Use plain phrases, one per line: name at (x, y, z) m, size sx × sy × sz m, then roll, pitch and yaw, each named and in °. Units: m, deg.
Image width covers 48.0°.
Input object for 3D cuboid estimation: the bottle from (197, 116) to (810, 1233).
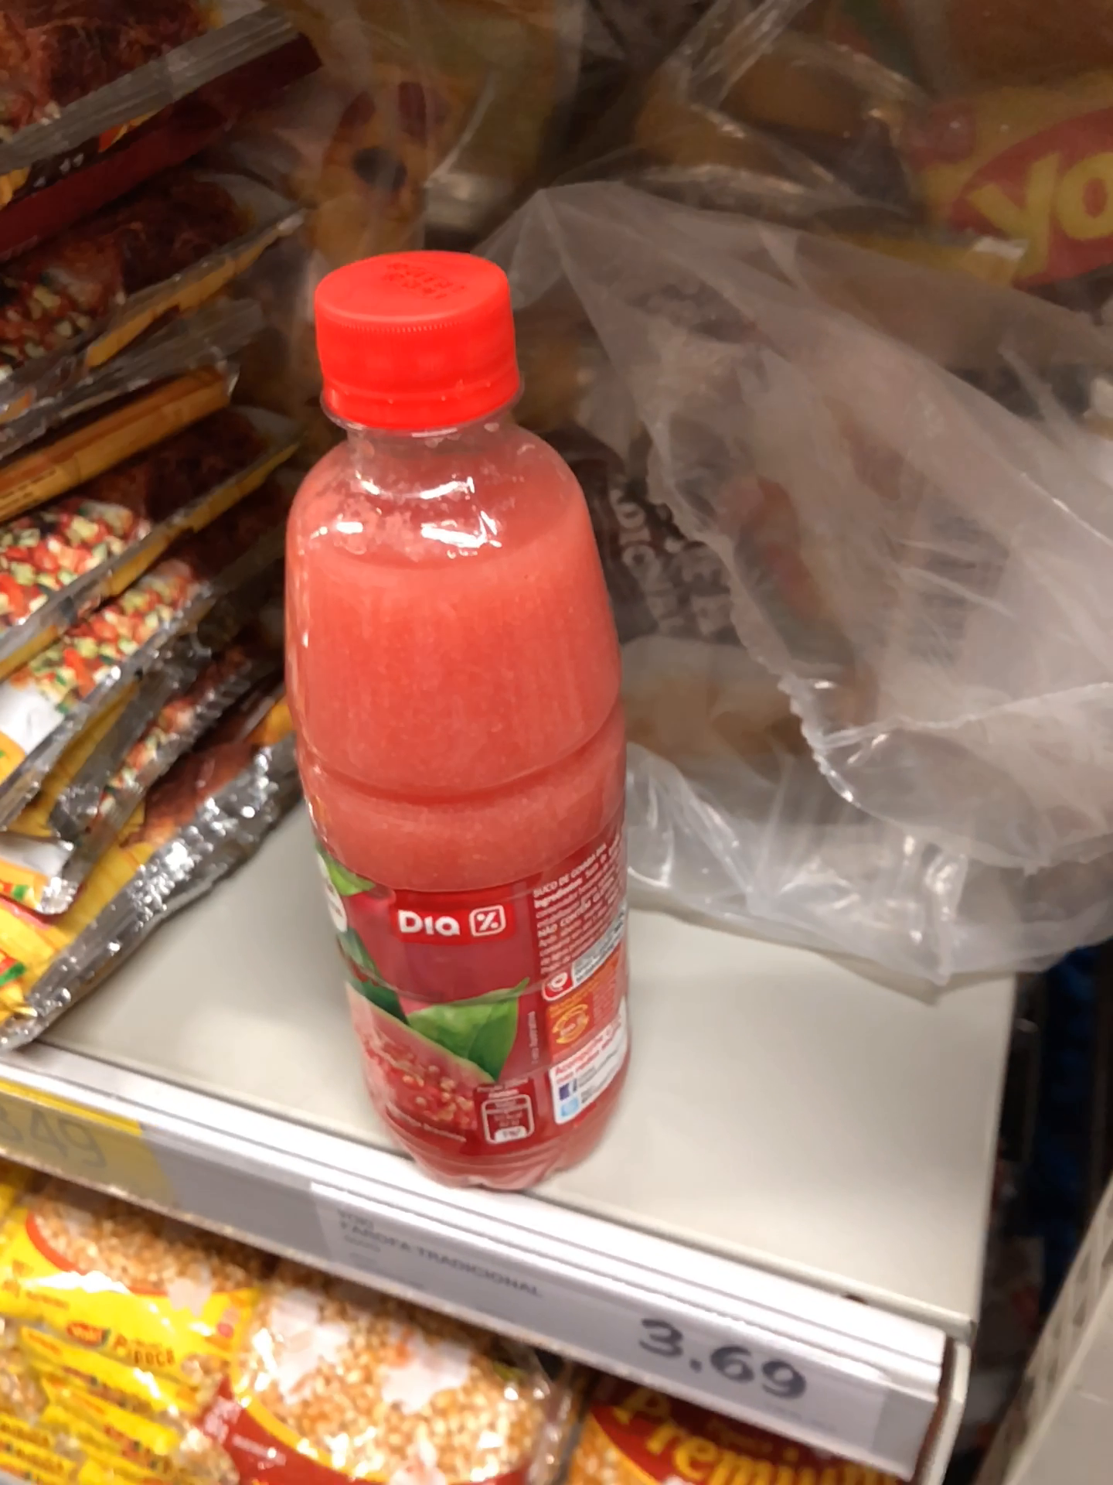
bottle at (-0.008, 0.002, 0.259) m, size 0.070 × 0.218 × 0.070 m, roll -1°, pitch 41°, yaw 1°
